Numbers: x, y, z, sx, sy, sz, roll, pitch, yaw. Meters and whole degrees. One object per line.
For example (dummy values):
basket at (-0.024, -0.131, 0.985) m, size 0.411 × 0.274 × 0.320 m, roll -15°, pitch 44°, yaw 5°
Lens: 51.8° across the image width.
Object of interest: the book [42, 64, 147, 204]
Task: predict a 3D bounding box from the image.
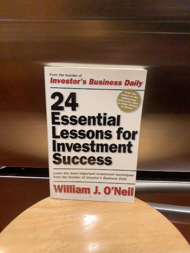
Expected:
book at (-0.003, 0.017, 0.326) m, size 0.150 × 0.229 × 0.030 m, roll 2°, pitch 17°, yaw 4°
